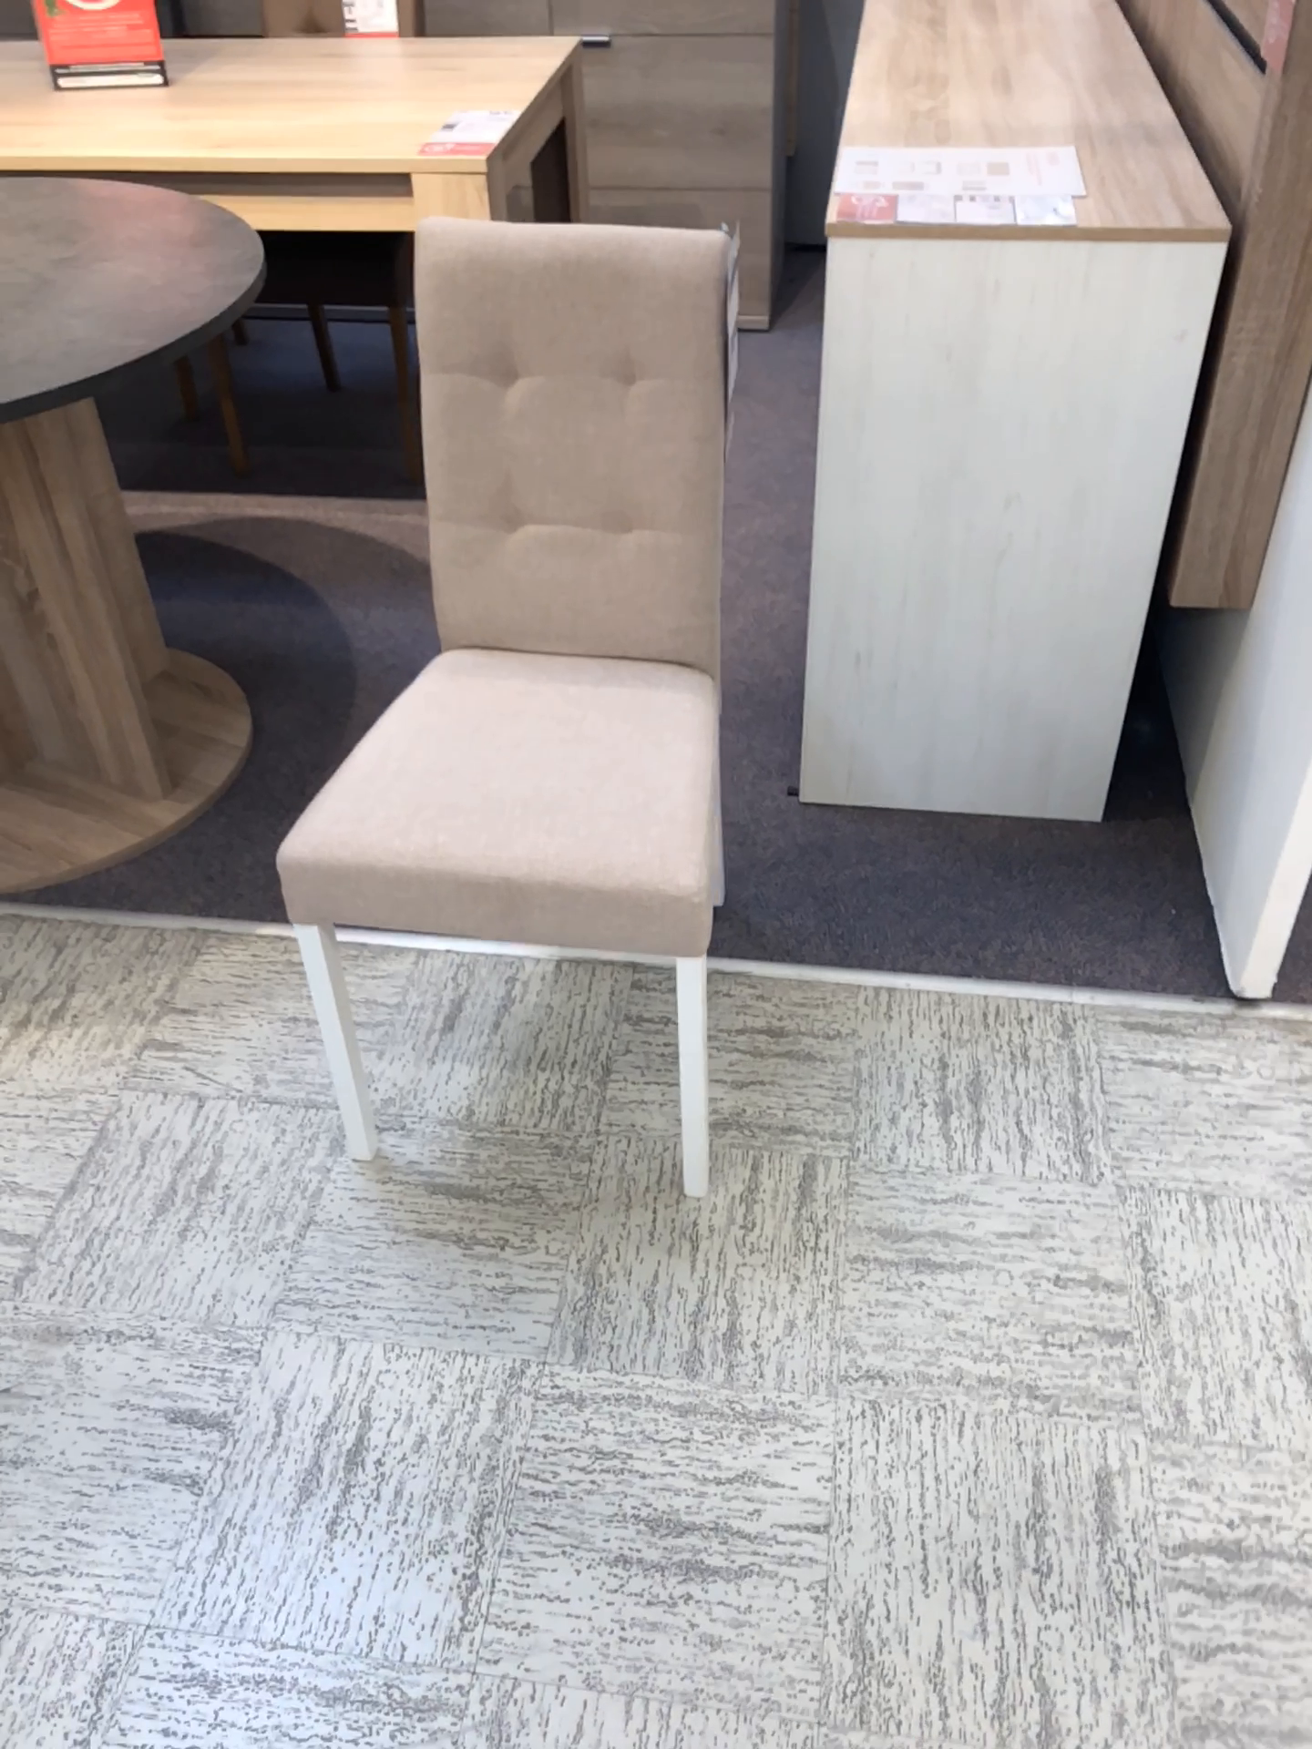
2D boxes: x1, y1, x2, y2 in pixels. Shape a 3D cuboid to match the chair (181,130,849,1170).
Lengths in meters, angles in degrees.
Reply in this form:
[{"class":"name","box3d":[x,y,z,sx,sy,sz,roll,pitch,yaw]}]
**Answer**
[{"class":"chair","box3d":[-0.060,-0.211,1.440,0.430,0.855,0.533,4,40,8]}]
